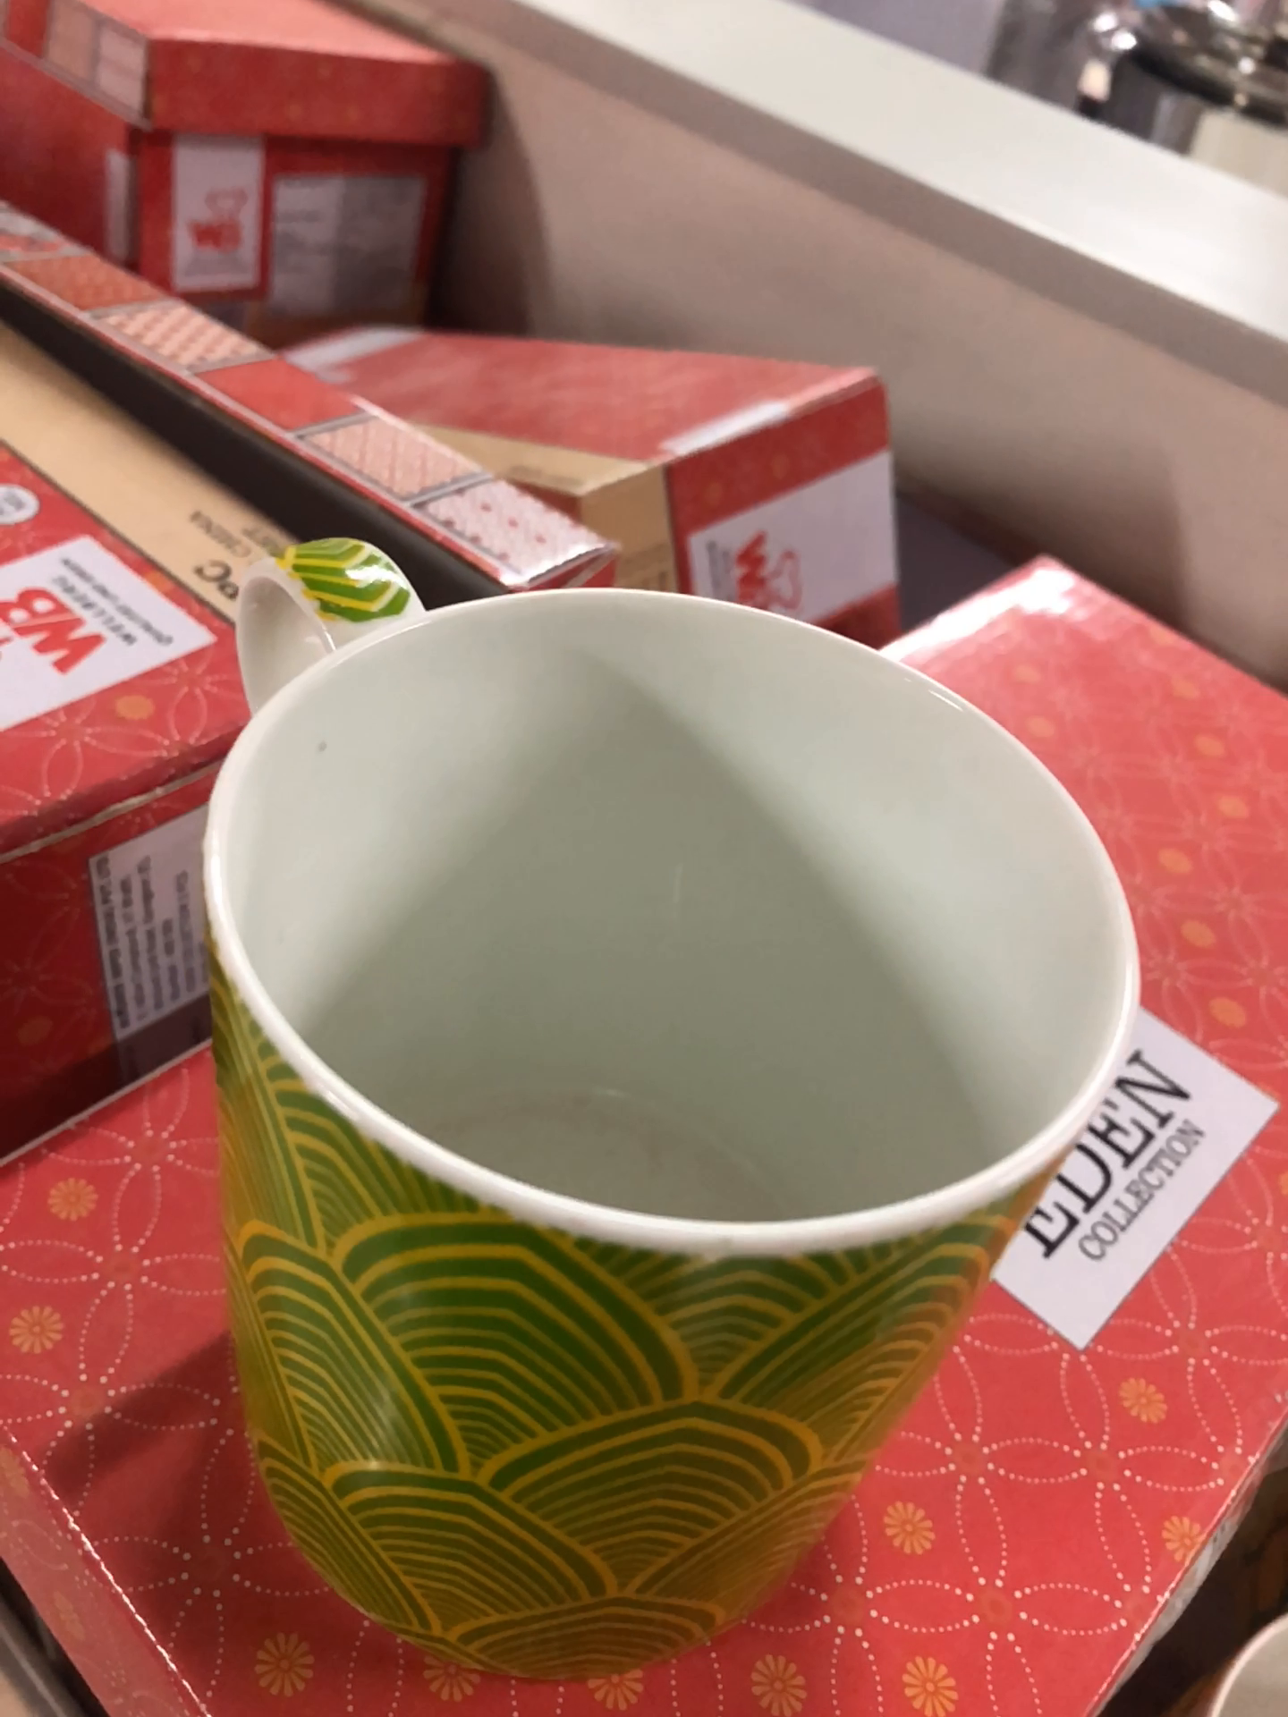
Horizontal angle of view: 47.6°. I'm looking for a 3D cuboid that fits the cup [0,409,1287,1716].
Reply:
[{"bbox_3d":[-0.011,0.024,0.146,0.070,0.089,0.090,-29,56,-35],"label":"cup"}]
